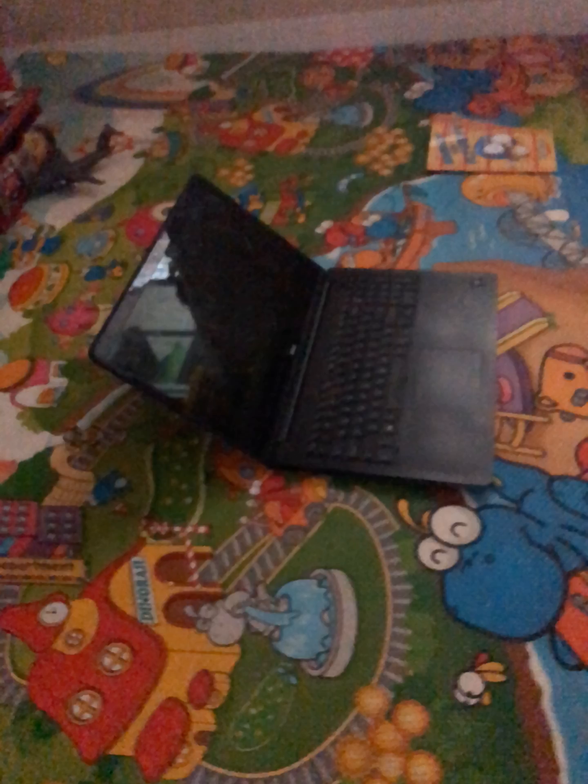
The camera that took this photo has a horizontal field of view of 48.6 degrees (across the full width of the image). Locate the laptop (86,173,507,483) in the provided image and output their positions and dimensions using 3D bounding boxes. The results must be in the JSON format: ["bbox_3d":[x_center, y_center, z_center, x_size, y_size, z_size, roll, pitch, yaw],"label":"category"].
[{"bbox_3d":[0.034,-0.105,0.818,0.429,0.158,0.363,5,49,13],"label":"laptop"}]
